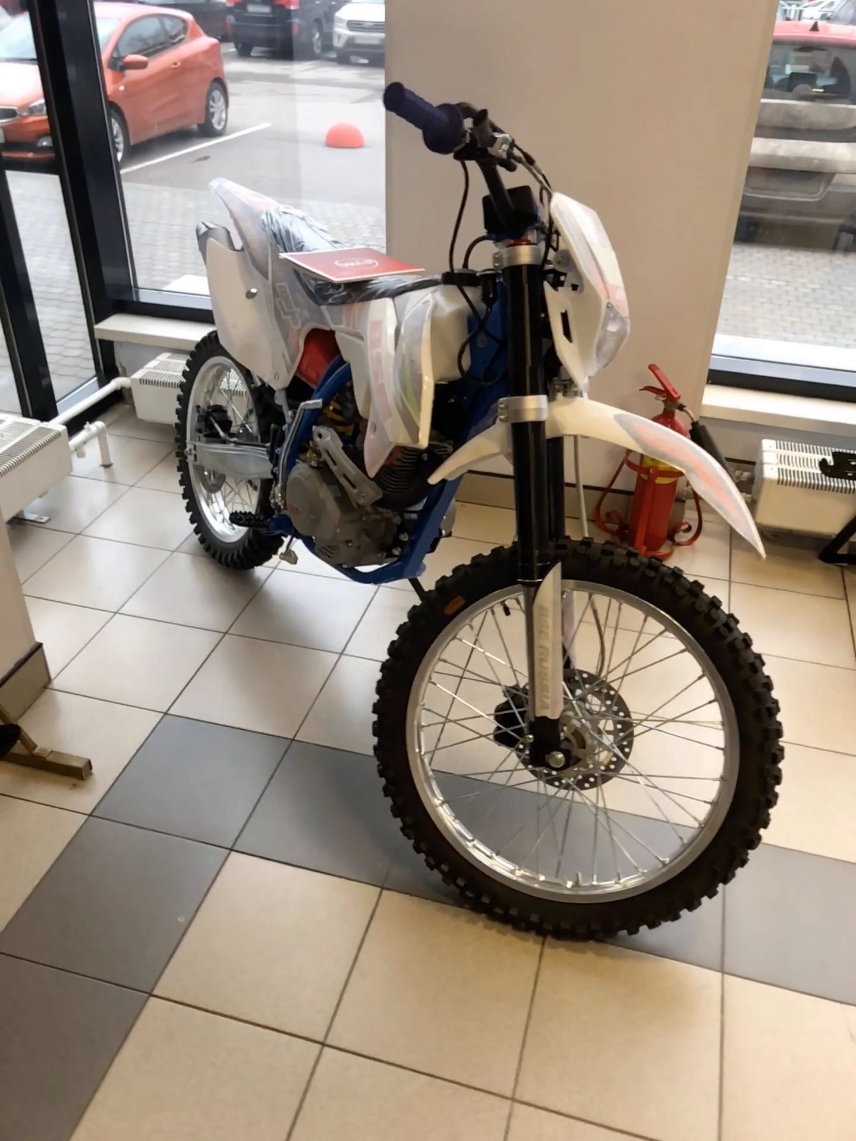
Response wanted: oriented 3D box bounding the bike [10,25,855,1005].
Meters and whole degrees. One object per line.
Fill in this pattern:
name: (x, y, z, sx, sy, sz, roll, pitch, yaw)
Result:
bike: (0.048, -0.350, 1.985, 0.844, 1.220, 1.850, -24, 43, -34)
